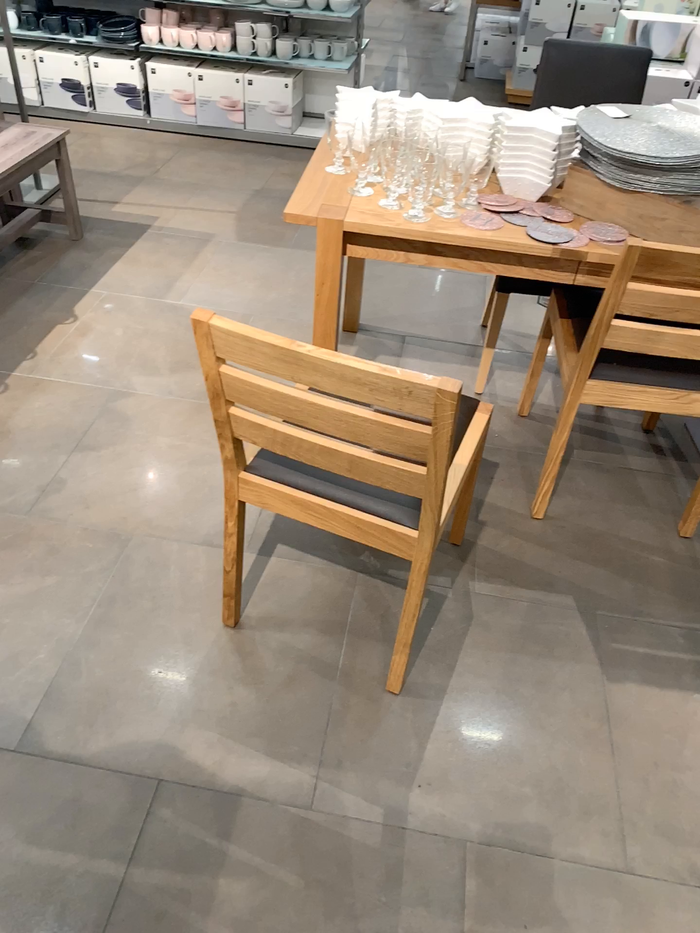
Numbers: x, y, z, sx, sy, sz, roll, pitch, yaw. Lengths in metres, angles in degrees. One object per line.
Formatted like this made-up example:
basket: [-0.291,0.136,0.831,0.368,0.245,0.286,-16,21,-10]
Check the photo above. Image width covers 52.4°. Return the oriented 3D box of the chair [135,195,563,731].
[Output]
chair: [0.012,-0.013,1.481,0.563,0.815,0.568,17,42,15]
